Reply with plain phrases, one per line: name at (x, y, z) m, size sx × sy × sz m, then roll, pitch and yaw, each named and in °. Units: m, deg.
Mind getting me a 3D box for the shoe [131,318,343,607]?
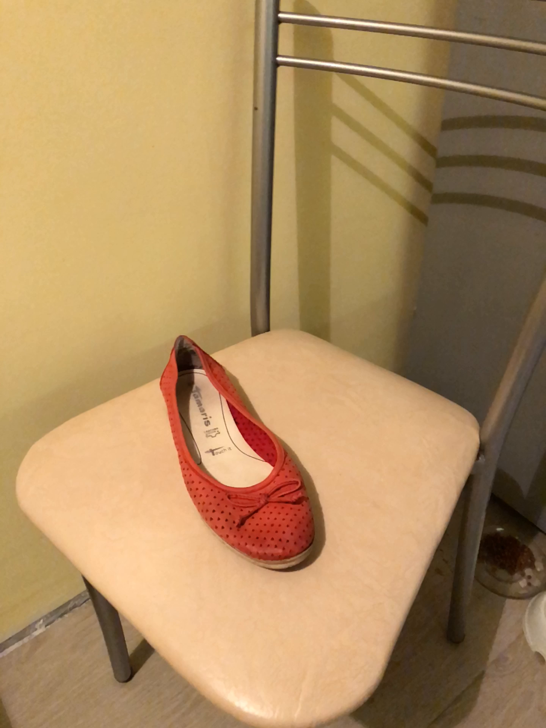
shoe at (-0.043, 0.069, 0.536) m, size 0.100 × 0.080 × 0.251 m, roll -16°, pitch 41°, yaw -17°
